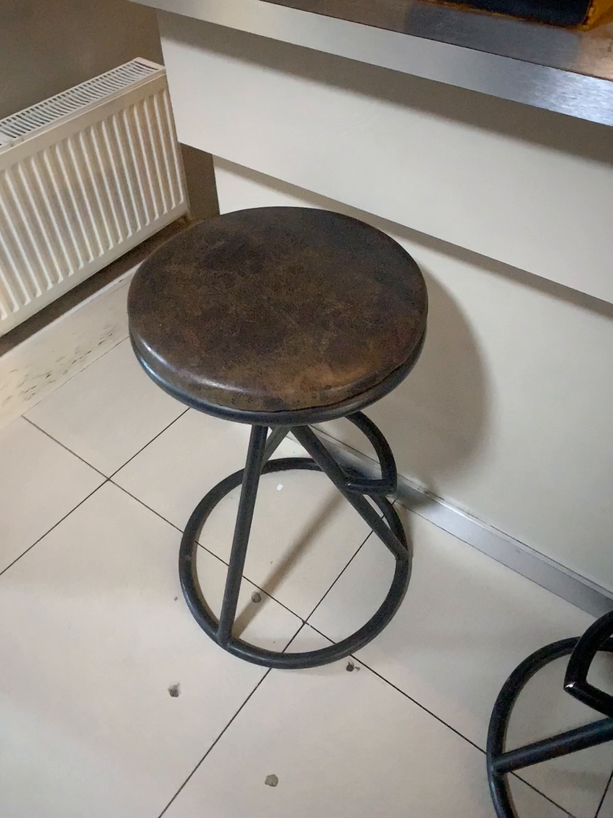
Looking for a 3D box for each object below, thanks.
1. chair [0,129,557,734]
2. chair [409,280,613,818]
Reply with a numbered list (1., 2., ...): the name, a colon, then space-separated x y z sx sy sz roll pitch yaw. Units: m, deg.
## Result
1. chair: -0.034 0.046 1.084 0.551 0.728 0.548 28 54 23
2. chair: 0.540 0.365 0.780 0.551 0.728 0.528 28 54 23
